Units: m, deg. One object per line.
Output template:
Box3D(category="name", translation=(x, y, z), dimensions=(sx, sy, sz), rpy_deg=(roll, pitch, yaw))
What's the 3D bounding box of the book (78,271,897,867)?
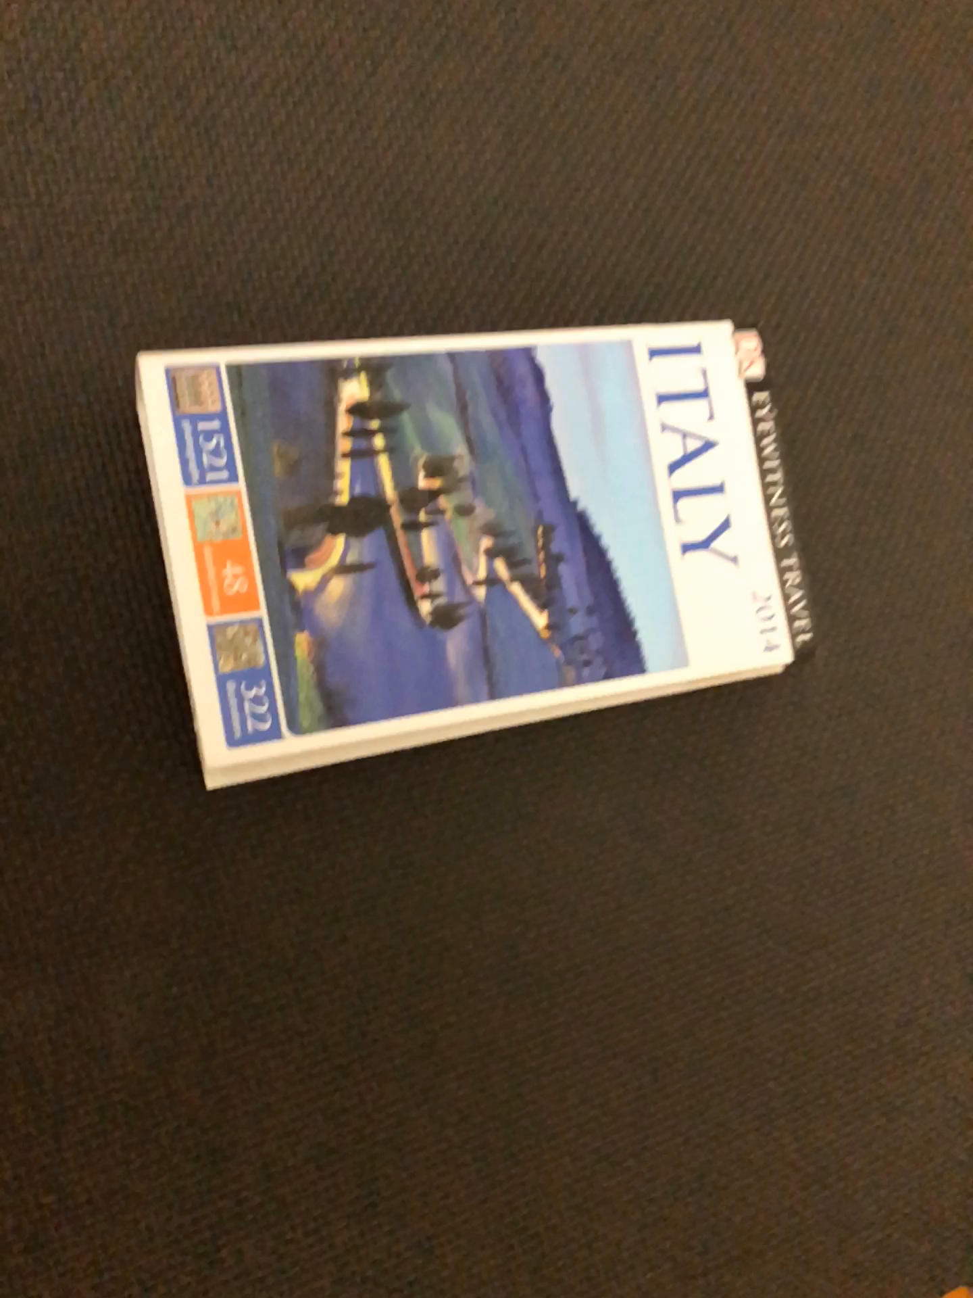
Box3D(category="book", translation=(0.009, -0.037, 0.363), dimensions=(0.250, 0.040, 0.160), rpy_deg=(-10, 86, -21))
